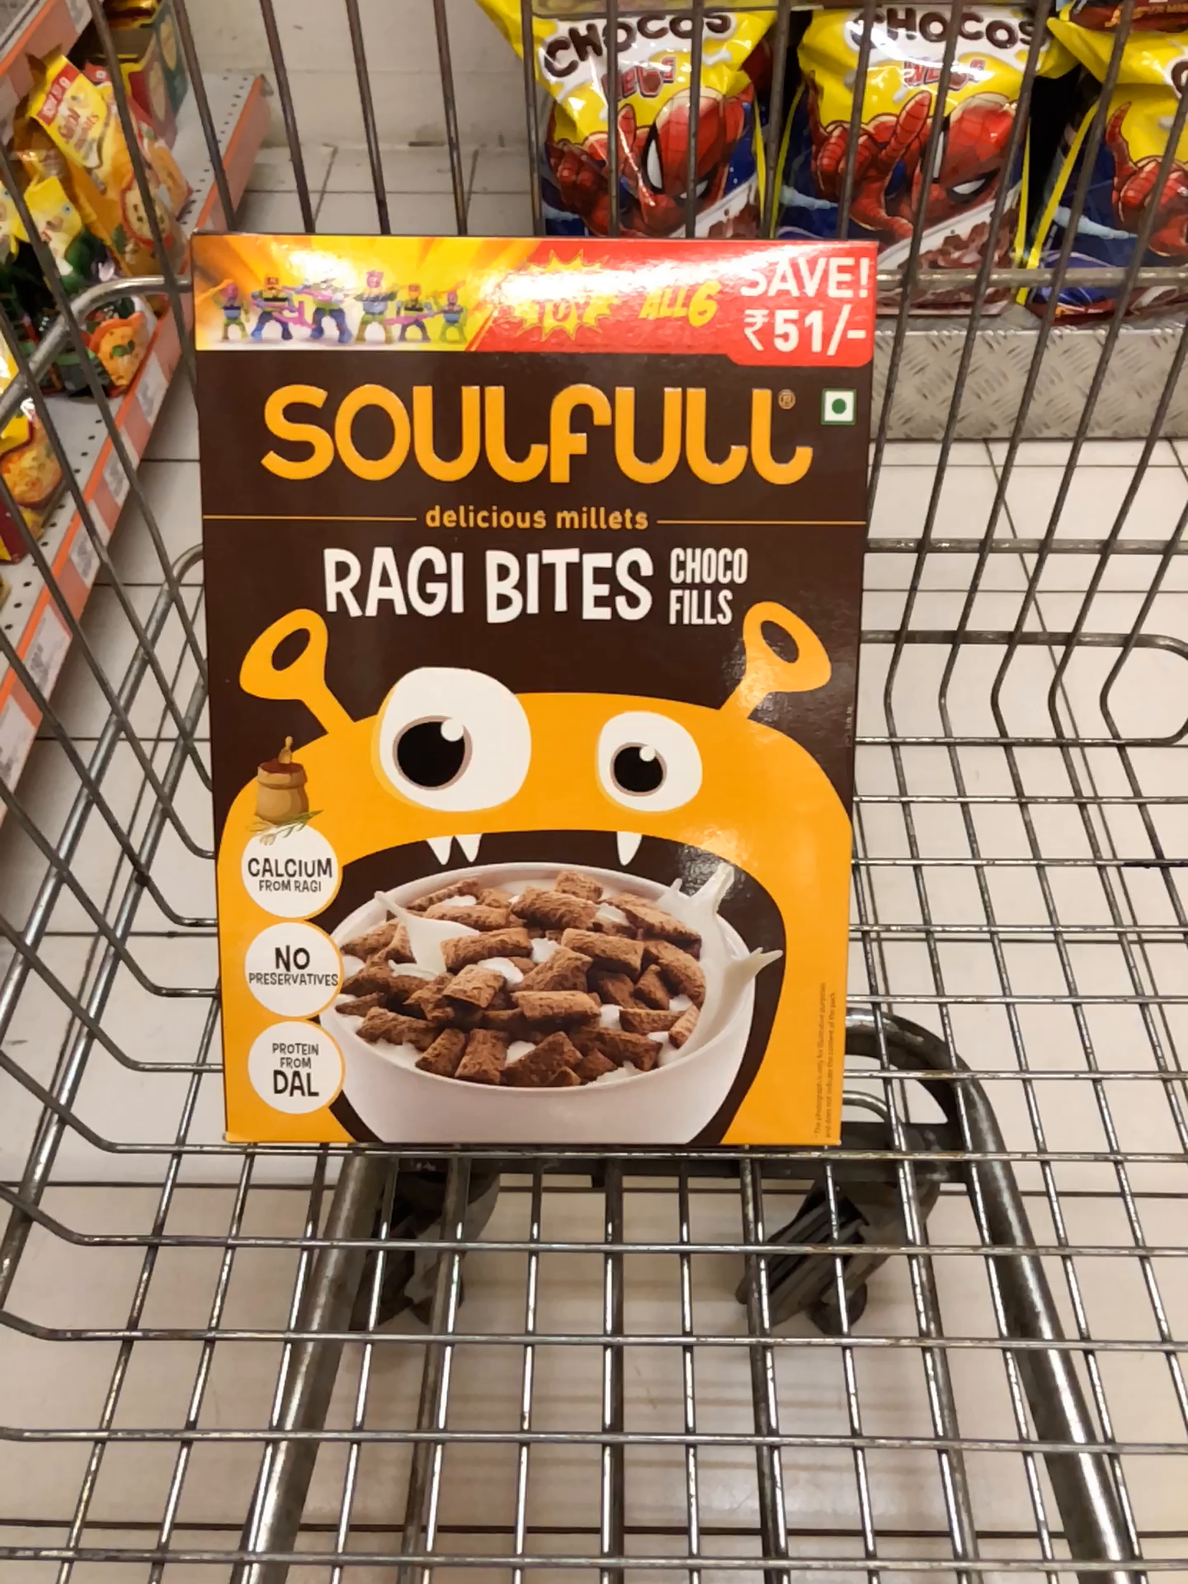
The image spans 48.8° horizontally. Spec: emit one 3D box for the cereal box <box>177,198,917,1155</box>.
[{"bbox_3d":[-0.013,-0.030,0.392,0.190,0.259,0.070,1,10,1],"label":"cereal box"}]
